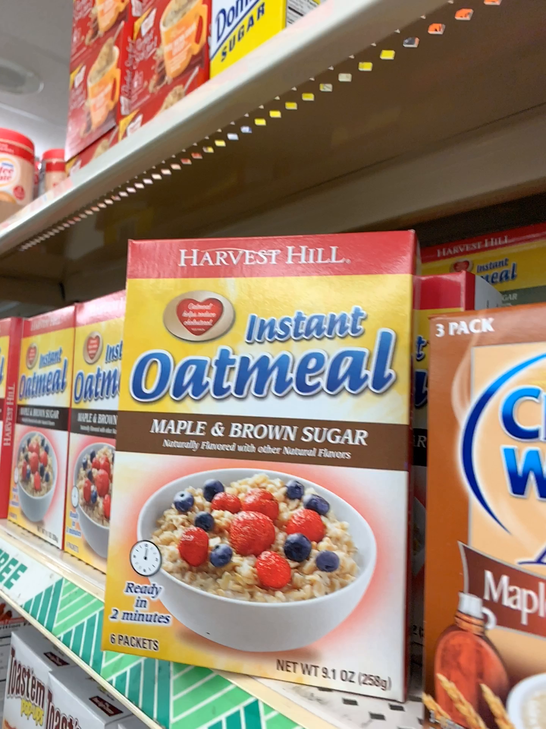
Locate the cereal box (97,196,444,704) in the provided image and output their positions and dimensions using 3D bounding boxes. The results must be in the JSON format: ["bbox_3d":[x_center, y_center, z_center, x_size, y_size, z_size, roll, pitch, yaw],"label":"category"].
[{"bbox_3d":[0.003,0.027,0.245,0.130,0.180,0.050,1,-6,15],"label":"cereal box"}]
